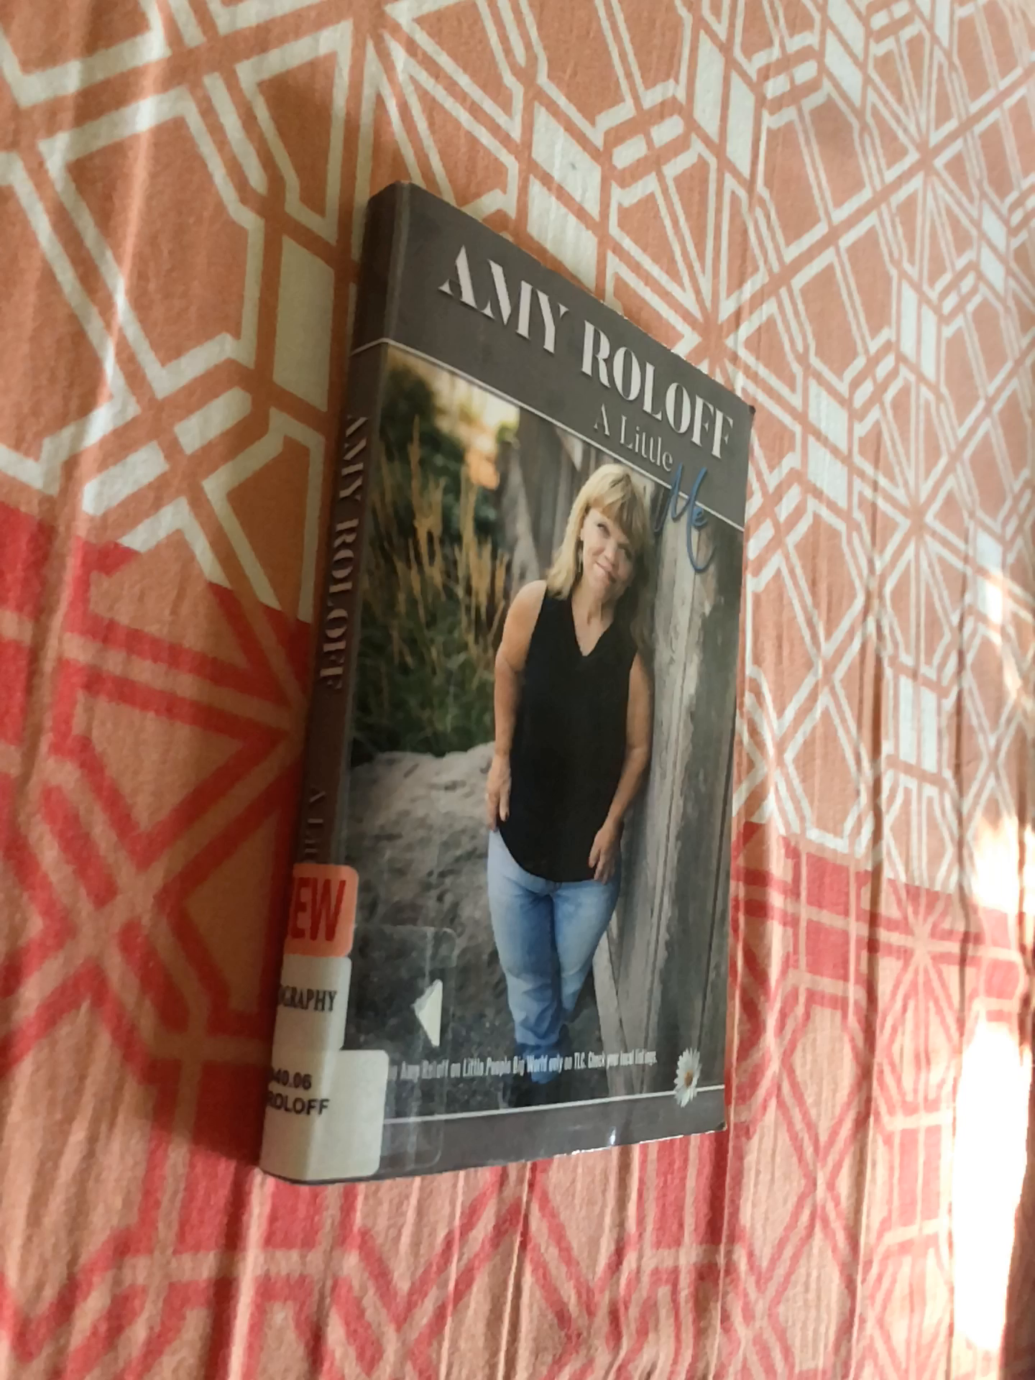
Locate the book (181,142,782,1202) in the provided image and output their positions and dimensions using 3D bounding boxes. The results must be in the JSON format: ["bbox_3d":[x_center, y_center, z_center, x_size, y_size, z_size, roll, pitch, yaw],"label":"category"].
[{"bbox_3d":[0.007,0.004,0.295,0.159,0.030,0.215,15,77,-45],"label":"book"}]
